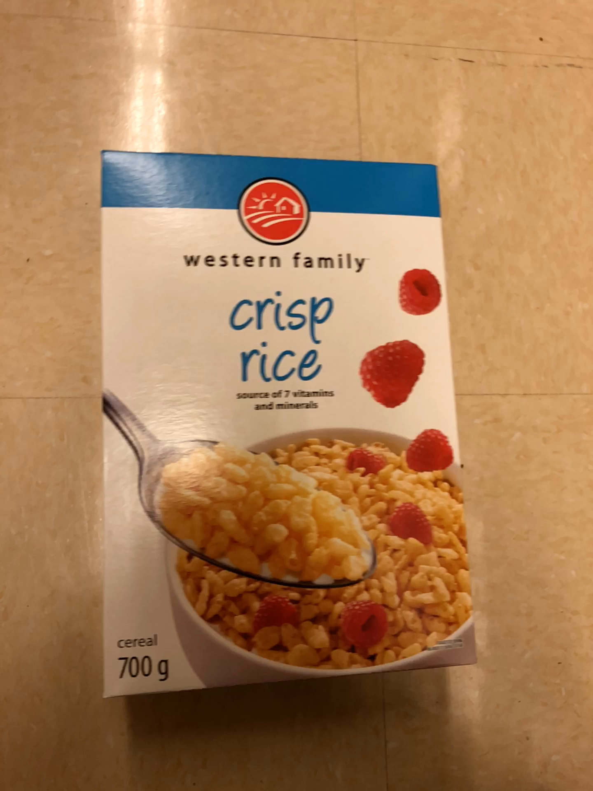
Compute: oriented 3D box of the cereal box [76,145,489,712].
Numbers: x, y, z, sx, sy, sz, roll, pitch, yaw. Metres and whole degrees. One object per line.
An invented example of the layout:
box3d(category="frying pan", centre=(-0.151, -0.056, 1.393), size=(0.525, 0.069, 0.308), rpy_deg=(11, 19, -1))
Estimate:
box3d(category="cereal box", centre=(-0.014, 0.012, 0.424), size=(0.230, 0.080, 0.320), rpy_deg=(-1, 81, -9))
